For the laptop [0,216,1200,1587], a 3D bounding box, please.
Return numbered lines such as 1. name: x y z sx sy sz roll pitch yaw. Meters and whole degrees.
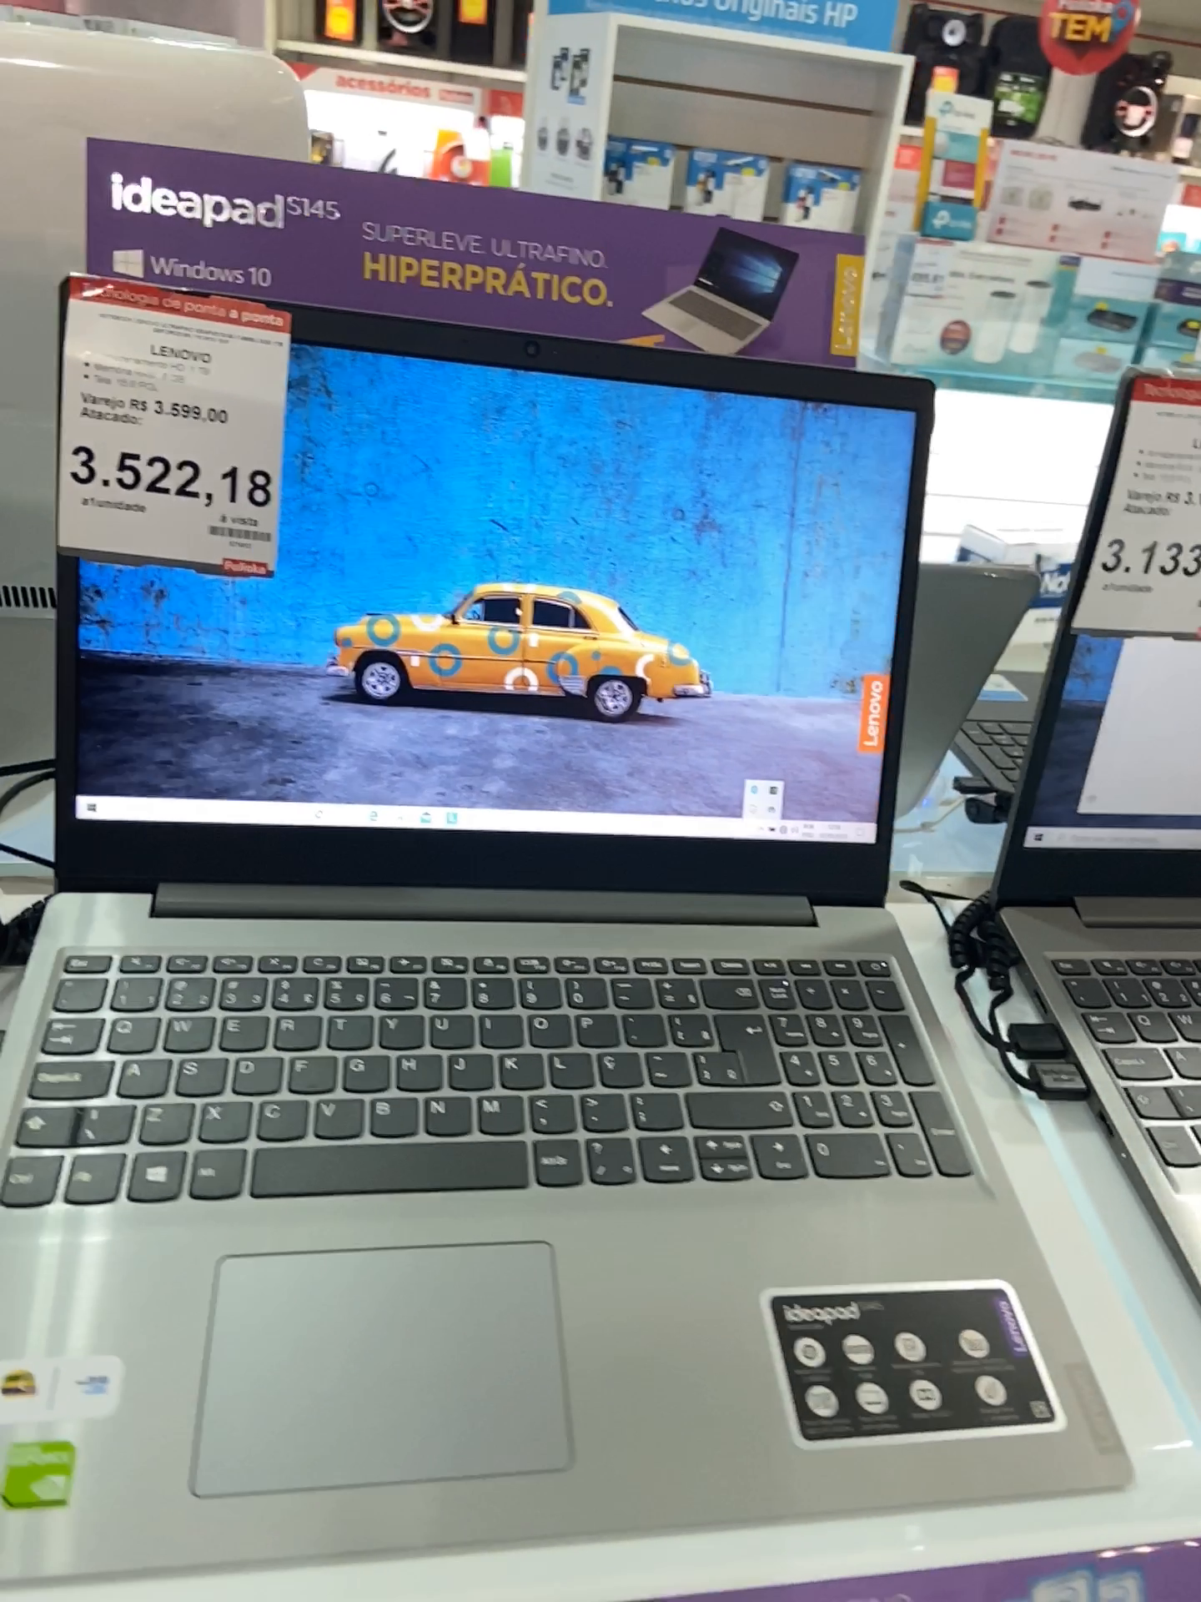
1. laptop: -0.023 -0.015 0.420 0.346 0.209 0.366 2 36 -10
